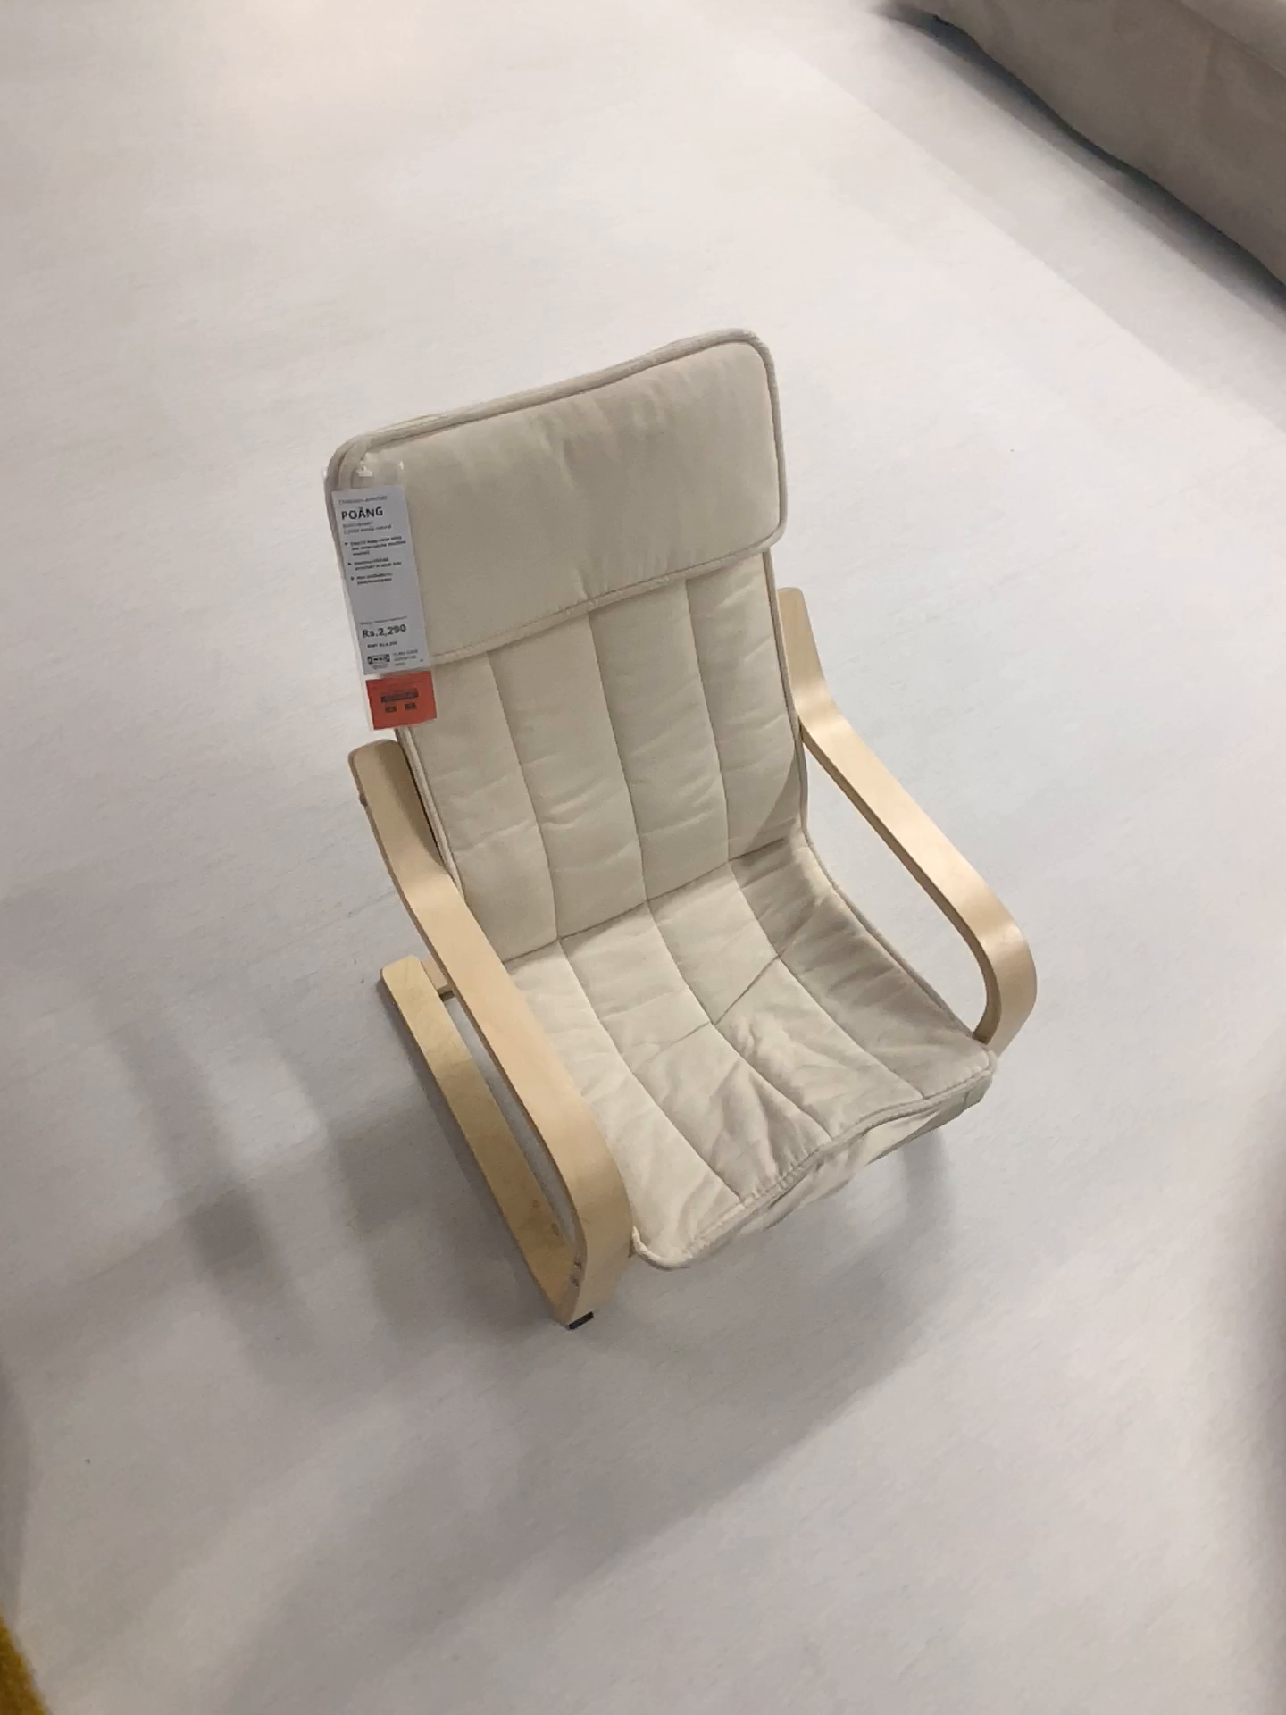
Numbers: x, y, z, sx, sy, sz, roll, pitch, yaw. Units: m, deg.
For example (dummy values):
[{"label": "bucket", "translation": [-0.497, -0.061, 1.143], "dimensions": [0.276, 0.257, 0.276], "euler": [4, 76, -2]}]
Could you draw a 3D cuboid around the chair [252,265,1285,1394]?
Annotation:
[{"label": "chair", "translation": [0.042, 0.031, 1.195], "dimensions": [0.490, 0.798, 0.541], "euler": [-24, 63, -21]}]
